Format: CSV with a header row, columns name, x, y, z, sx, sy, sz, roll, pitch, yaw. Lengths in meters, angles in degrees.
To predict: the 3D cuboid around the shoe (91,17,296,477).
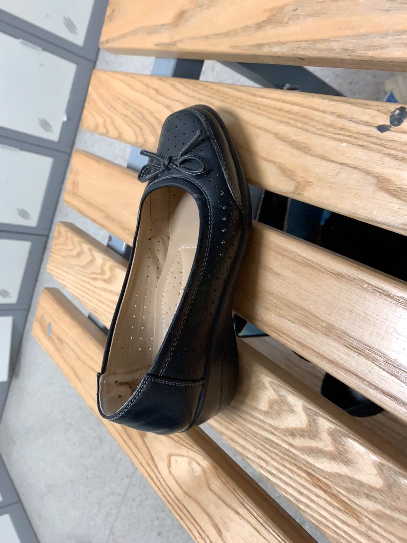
name,x,y,z,sx,sy,sz,roll,pitch,yaw
shoe,-0.001,-0.015,0.313,0.087,0.109,0.272,-5,79,45
